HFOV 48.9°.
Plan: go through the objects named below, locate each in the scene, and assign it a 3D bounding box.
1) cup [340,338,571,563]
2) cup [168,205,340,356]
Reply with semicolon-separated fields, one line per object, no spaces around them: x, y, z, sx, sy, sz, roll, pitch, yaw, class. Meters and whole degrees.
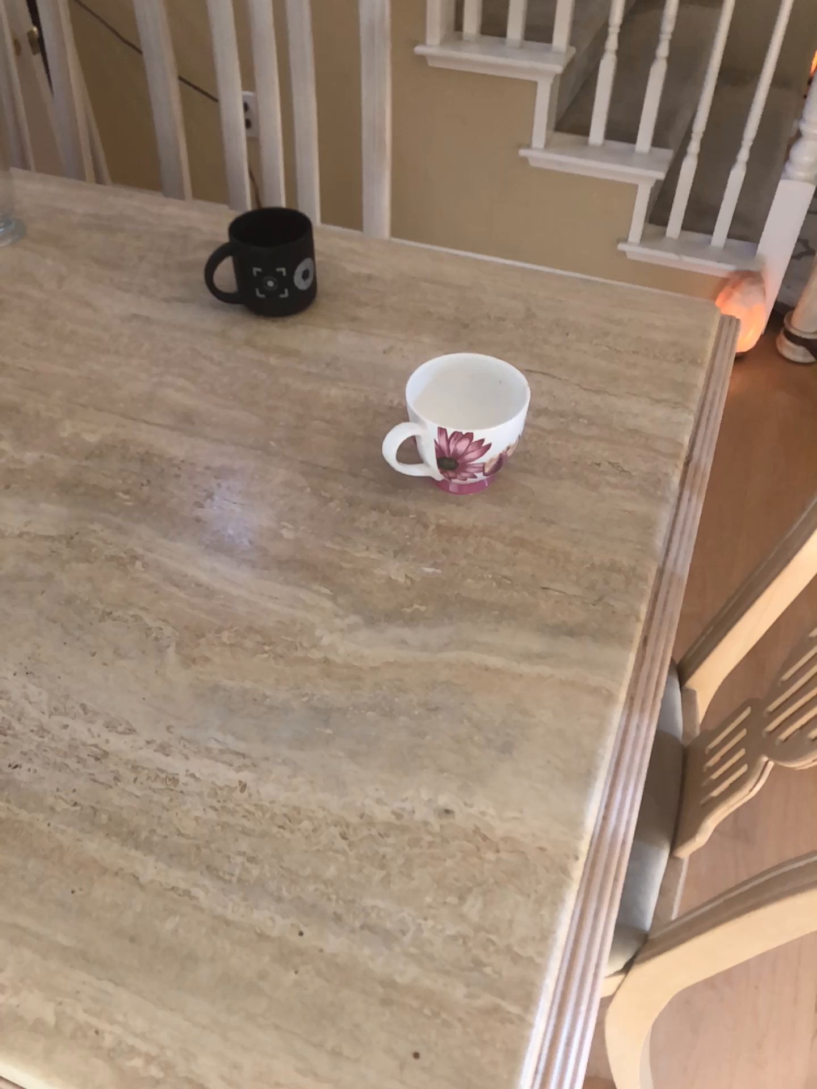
0.040;-0.085;0.776;0.161;0.089;0.110;-35;56;-28;cup
-0.168;-0.293;0.992;0.151;0.089;0.100;-23;52;-20;cup
